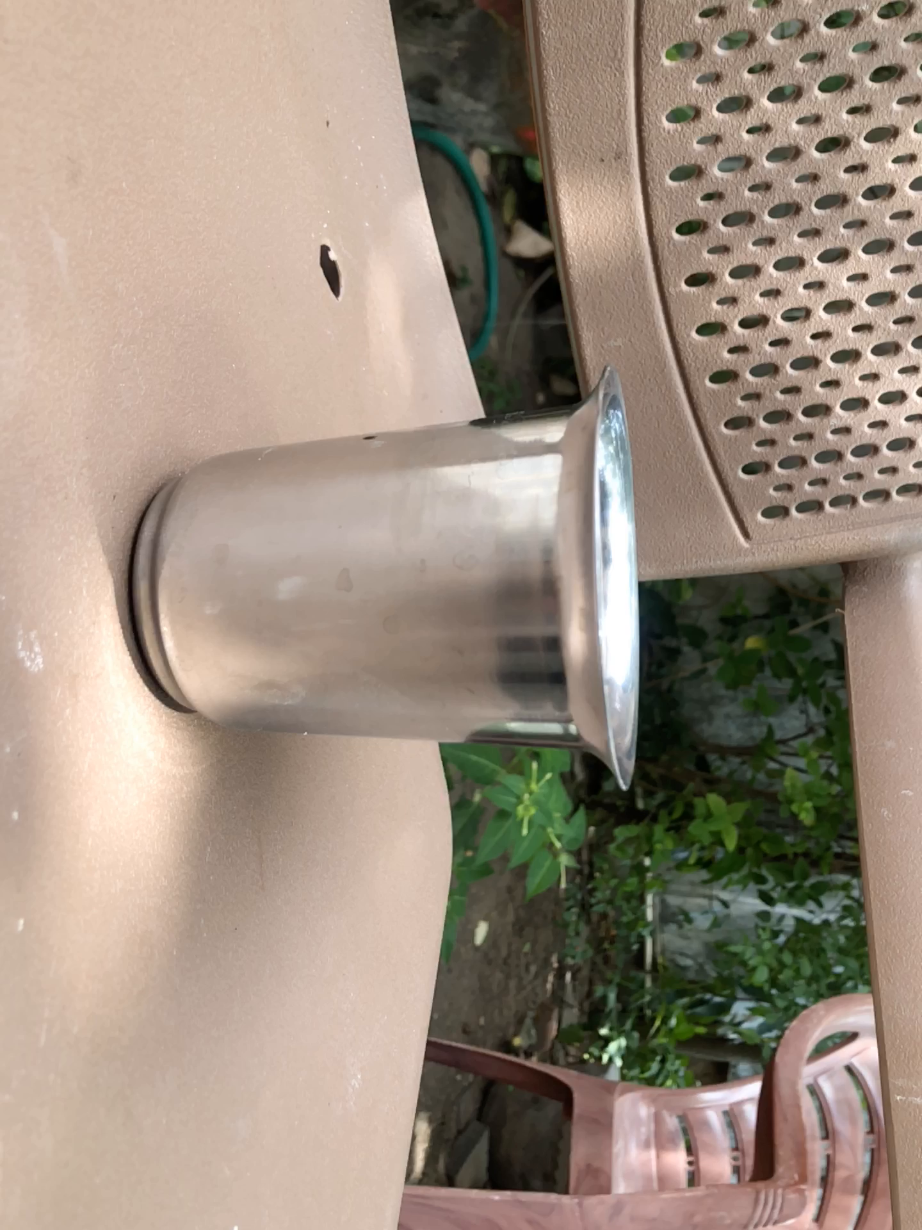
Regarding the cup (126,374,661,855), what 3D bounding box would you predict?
[{"bbox_3d":[-0.007,-0.004,0.225,0.090,0.090,0.080,-14,106,-74],"label":"cup"}]
